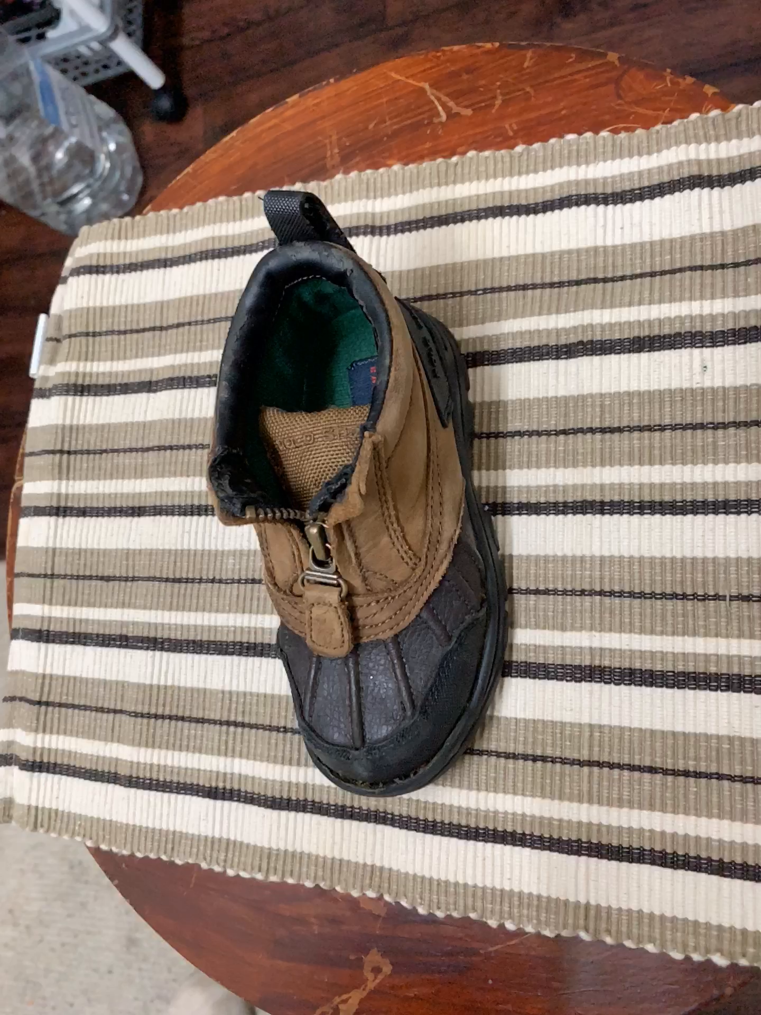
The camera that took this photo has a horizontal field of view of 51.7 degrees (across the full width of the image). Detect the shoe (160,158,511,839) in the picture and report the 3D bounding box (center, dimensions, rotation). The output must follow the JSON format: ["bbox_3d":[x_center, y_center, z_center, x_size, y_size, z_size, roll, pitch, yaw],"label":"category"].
[{"bbox_3d":[-0.009,0.000,0.262,0.080,0.090,0.180,-4,81,22],"label":"shoe"}]
